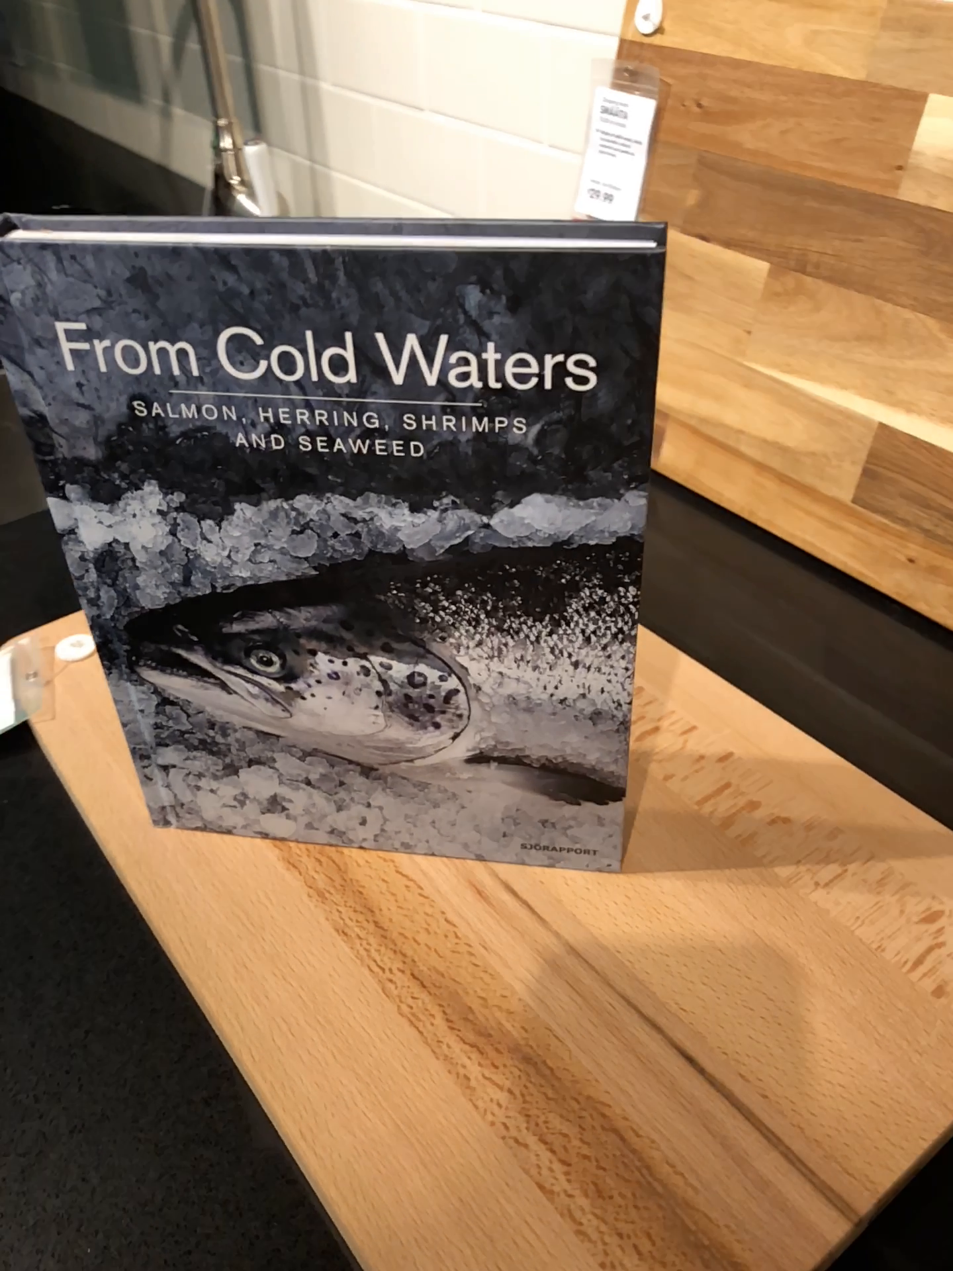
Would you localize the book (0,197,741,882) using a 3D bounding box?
[{"bbox_3d":[-0.039,-0.018,0.332,0.213,0.219,0.029,4,37,8],"label":"book"}]
